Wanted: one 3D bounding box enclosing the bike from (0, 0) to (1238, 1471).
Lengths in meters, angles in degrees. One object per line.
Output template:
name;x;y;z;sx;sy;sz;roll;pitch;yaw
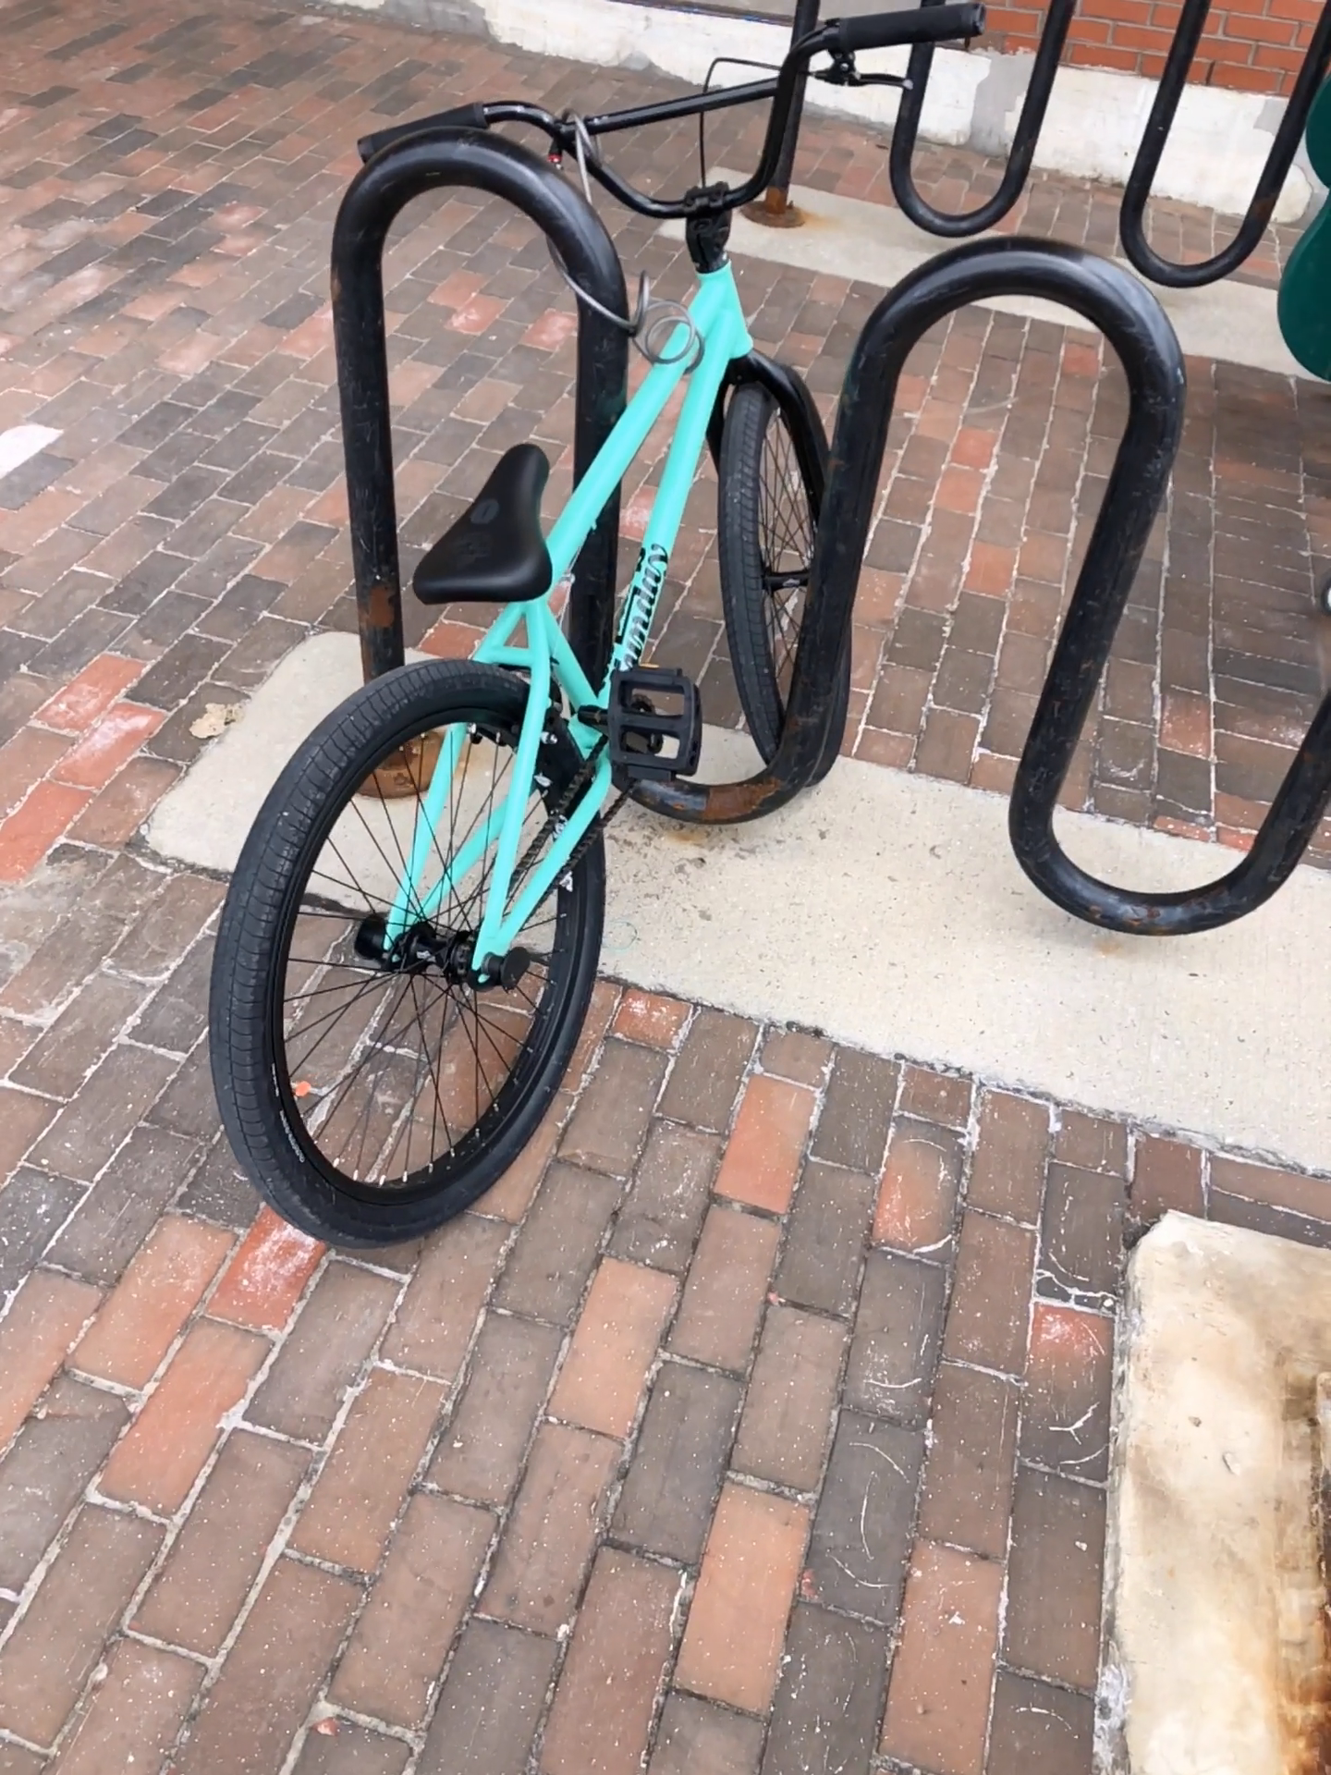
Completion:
bike;-0.054;-0.402;1.643;0.810;1.067;1.471;19;47;14
